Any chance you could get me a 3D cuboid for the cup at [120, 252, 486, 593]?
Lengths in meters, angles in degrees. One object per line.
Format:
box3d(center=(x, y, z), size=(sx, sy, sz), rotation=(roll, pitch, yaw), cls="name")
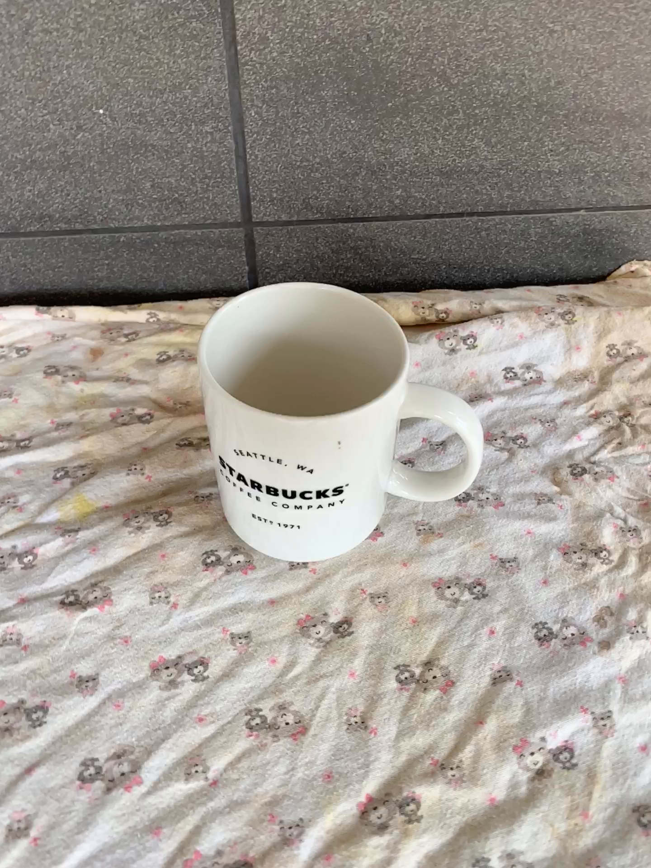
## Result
box3d(center=(-0.003, -0.004, 0.305), size=(0.130, 0.110, 0.090), rotation=(7, 49, 6), cls="cup")
